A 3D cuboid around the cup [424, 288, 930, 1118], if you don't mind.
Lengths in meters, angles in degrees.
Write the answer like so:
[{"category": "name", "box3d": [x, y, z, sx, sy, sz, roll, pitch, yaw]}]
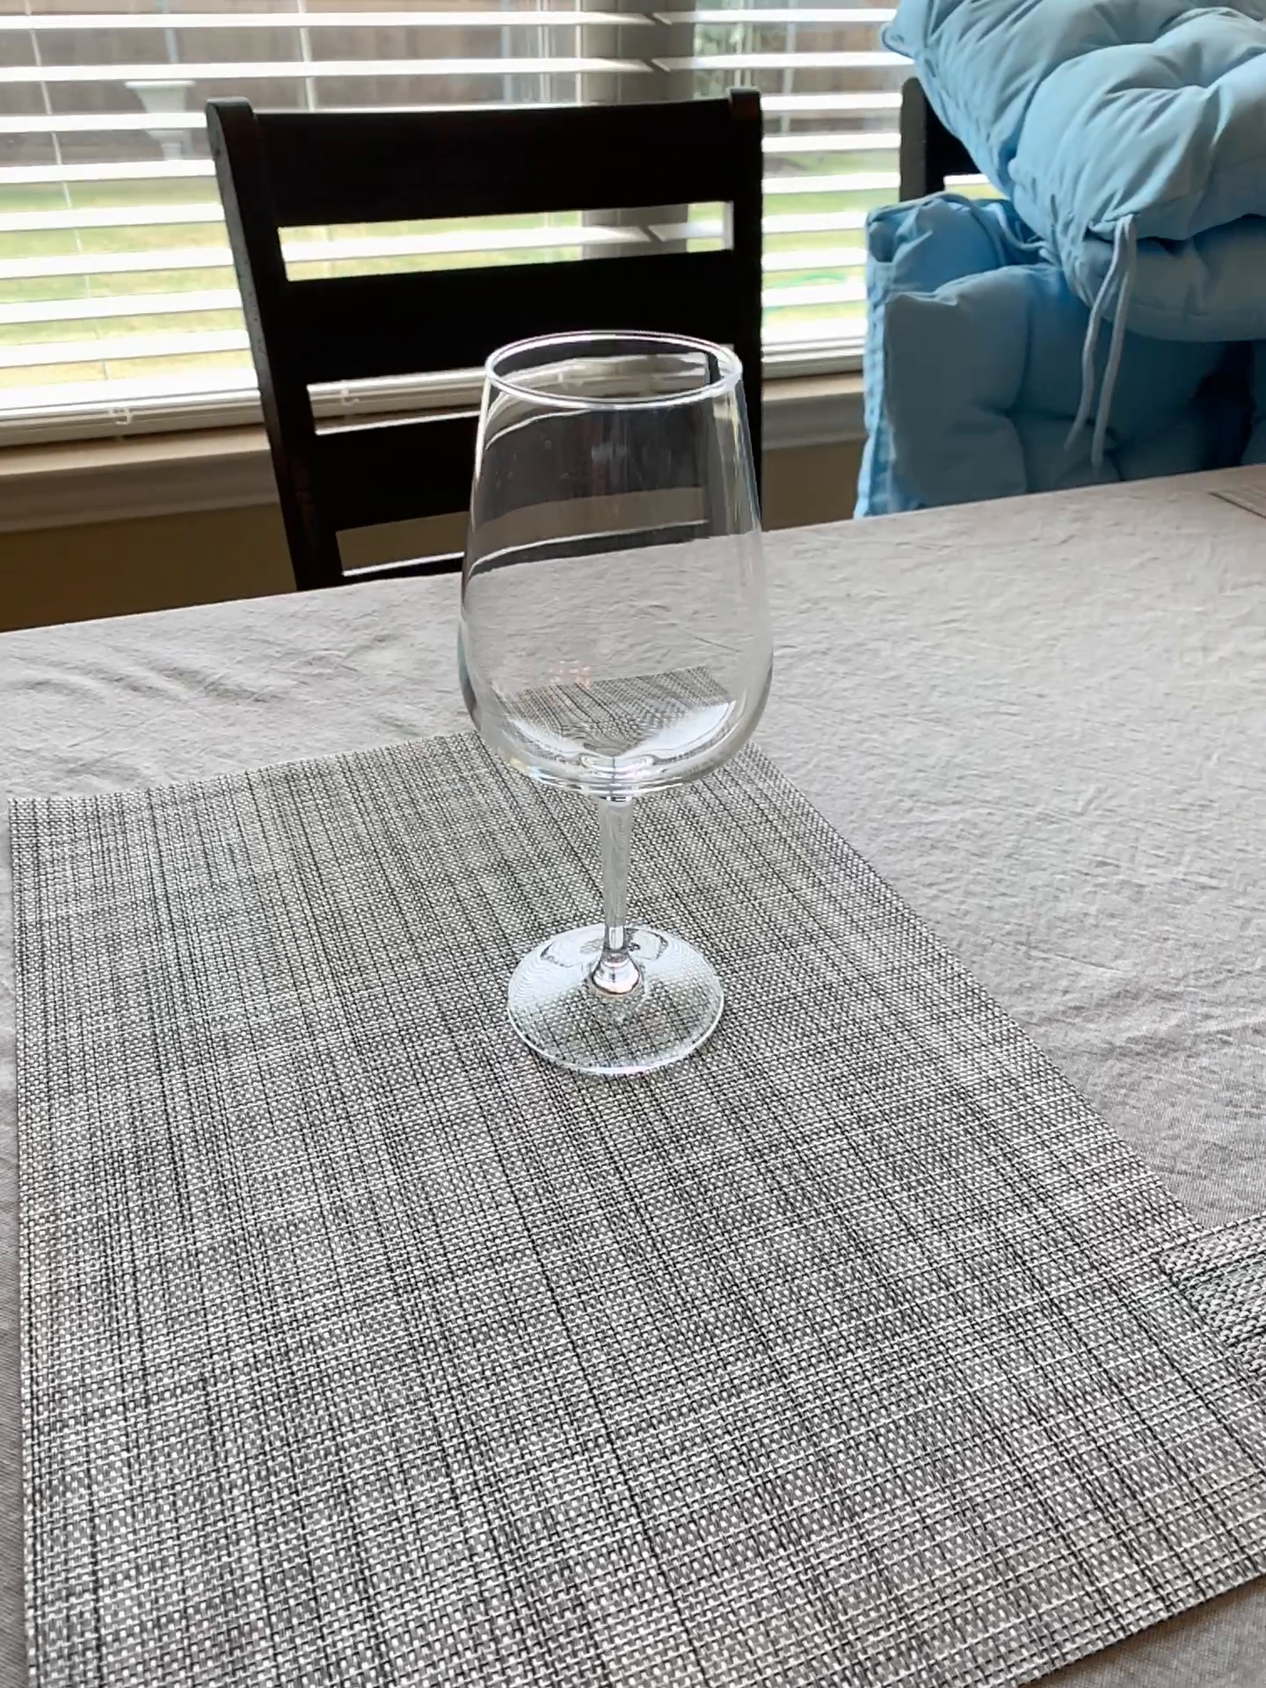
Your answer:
[{"category": "cup", "box3d": [0.004, -0.041, 0.396, 0.100, 0.214, 0.108, 1, 35, -1]}]
